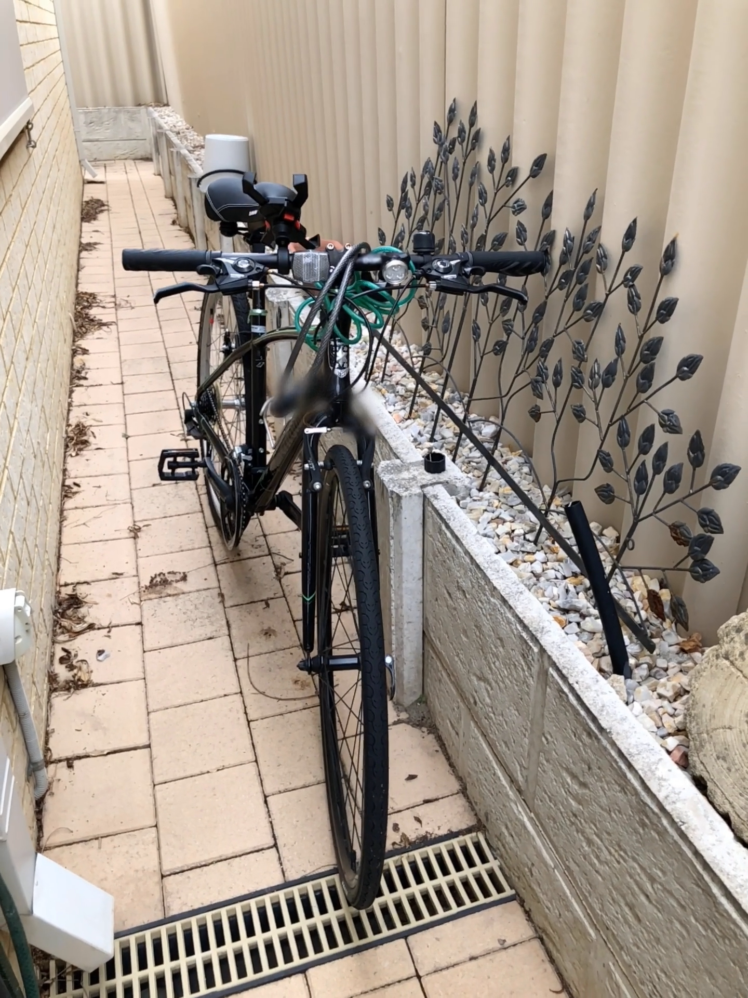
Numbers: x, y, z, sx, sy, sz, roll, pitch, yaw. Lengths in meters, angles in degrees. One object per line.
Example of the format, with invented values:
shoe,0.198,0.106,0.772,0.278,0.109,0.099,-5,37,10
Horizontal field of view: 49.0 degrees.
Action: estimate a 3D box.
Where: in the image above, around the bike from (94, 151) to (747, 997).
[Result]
bike,-0.150,-0.128,1.640,0.638,0.859,1.706,-9,30,-15
